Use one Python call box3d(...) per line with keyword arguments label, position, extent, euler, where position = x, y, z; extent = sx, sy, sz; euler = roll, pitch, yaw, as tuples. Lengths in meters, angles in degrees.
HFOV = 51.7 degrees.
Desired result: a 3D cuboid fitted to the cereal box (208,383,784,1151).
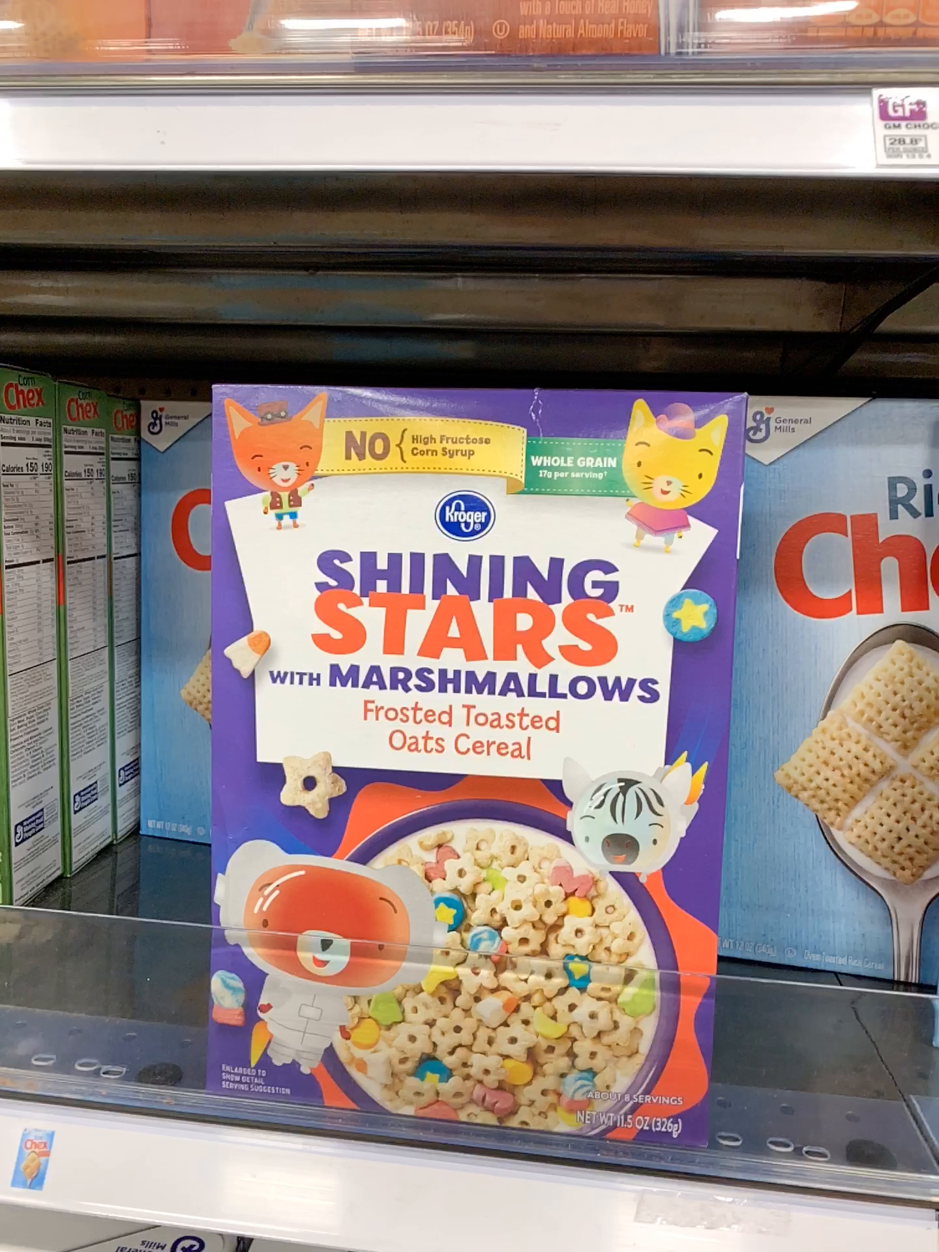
box3d(label="cereal box", position=(0.006, 0.049, 0.372), extent=(0.200, 0.270, 0.050), euler=(2, 5, 6))
